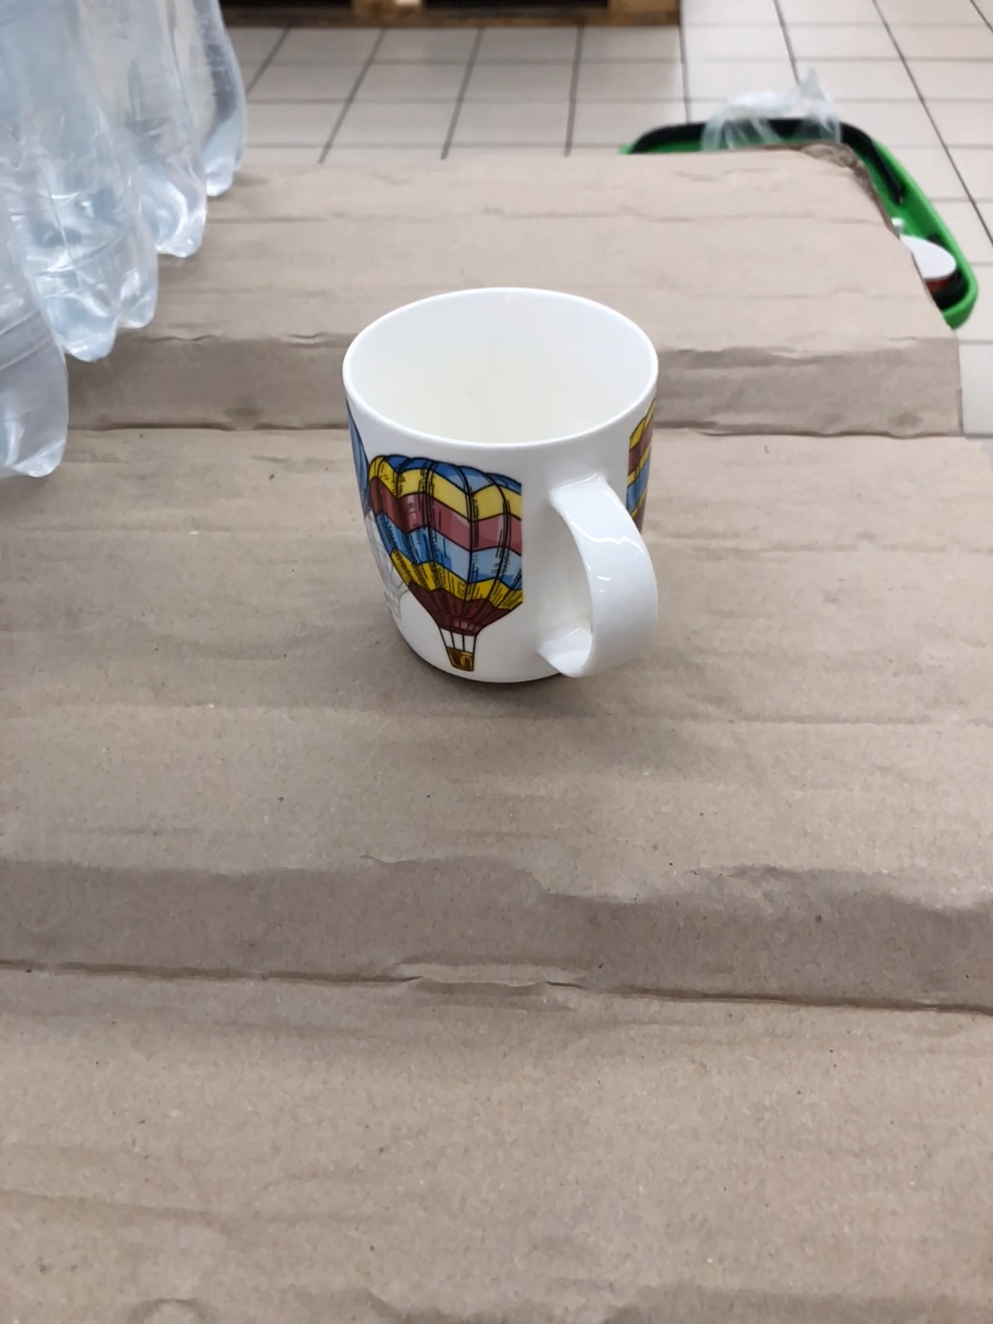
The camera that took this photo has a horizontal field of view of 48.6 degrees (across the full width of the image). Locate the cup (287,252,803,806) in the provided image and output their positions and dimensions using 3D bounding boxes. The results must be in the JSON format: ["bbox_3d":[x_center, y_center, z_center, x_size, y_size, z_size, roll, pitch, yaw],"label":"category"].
[{"bbox_3d":[0.008,-0.046,0.329,0.093,0.082,0.132,-19,48,-15],"label":"cup"}]
